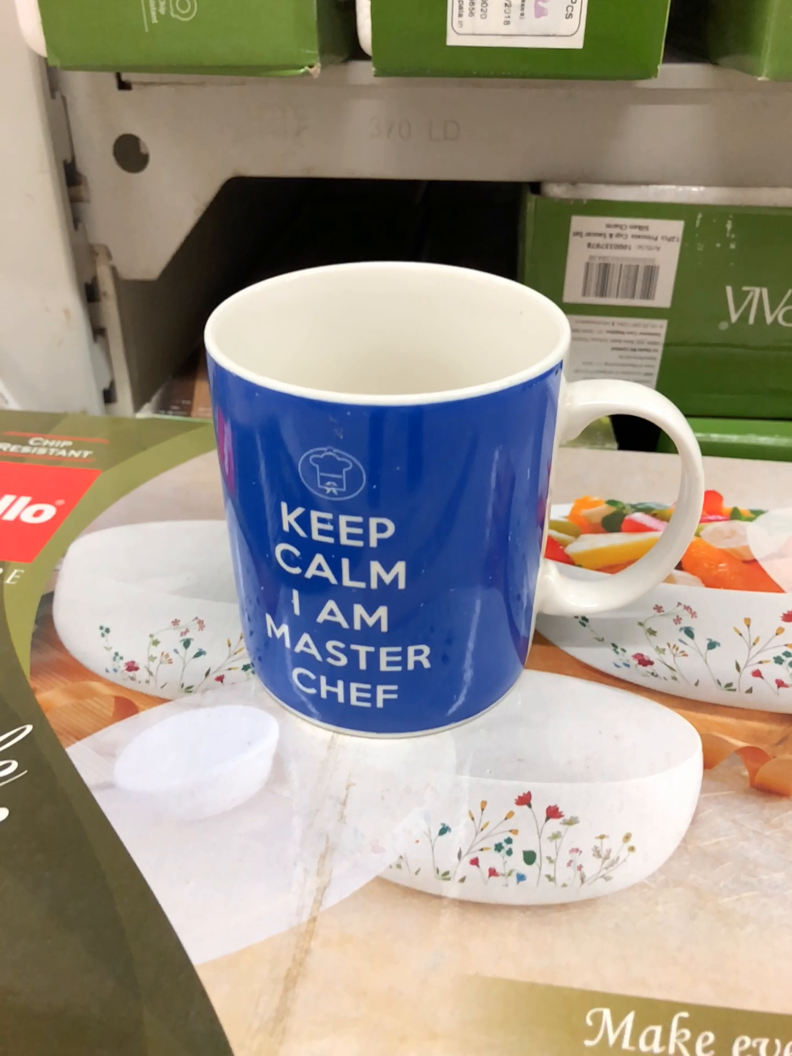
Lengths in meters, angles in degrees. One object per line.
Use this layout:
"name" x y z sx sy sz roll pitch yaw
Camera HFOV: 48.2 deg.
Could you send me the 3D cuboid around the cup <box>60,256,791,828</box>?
"cup" 0.010 -0.005 0.240 0.140 0.099 0.111 5 32 5
